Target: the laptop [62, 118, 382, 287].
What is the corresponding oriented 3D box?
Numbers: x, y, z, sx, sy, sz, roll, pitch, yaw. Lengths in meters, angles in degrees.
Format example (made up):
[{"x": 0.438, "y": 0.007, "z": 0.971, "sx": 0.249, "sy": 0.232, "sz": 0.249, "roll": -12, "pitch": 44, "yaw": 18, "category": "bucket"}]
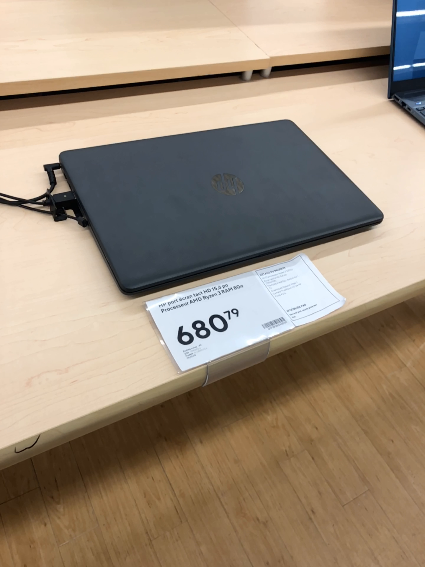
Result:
[{"x": 0.018, "y": -0.136, "z": 0.637, "sx": 0.374, "sy": 0.005, "sz": 0.244, "roll": -17, "pitch": 55, "yaw": -25, "category": "laptop"}]
